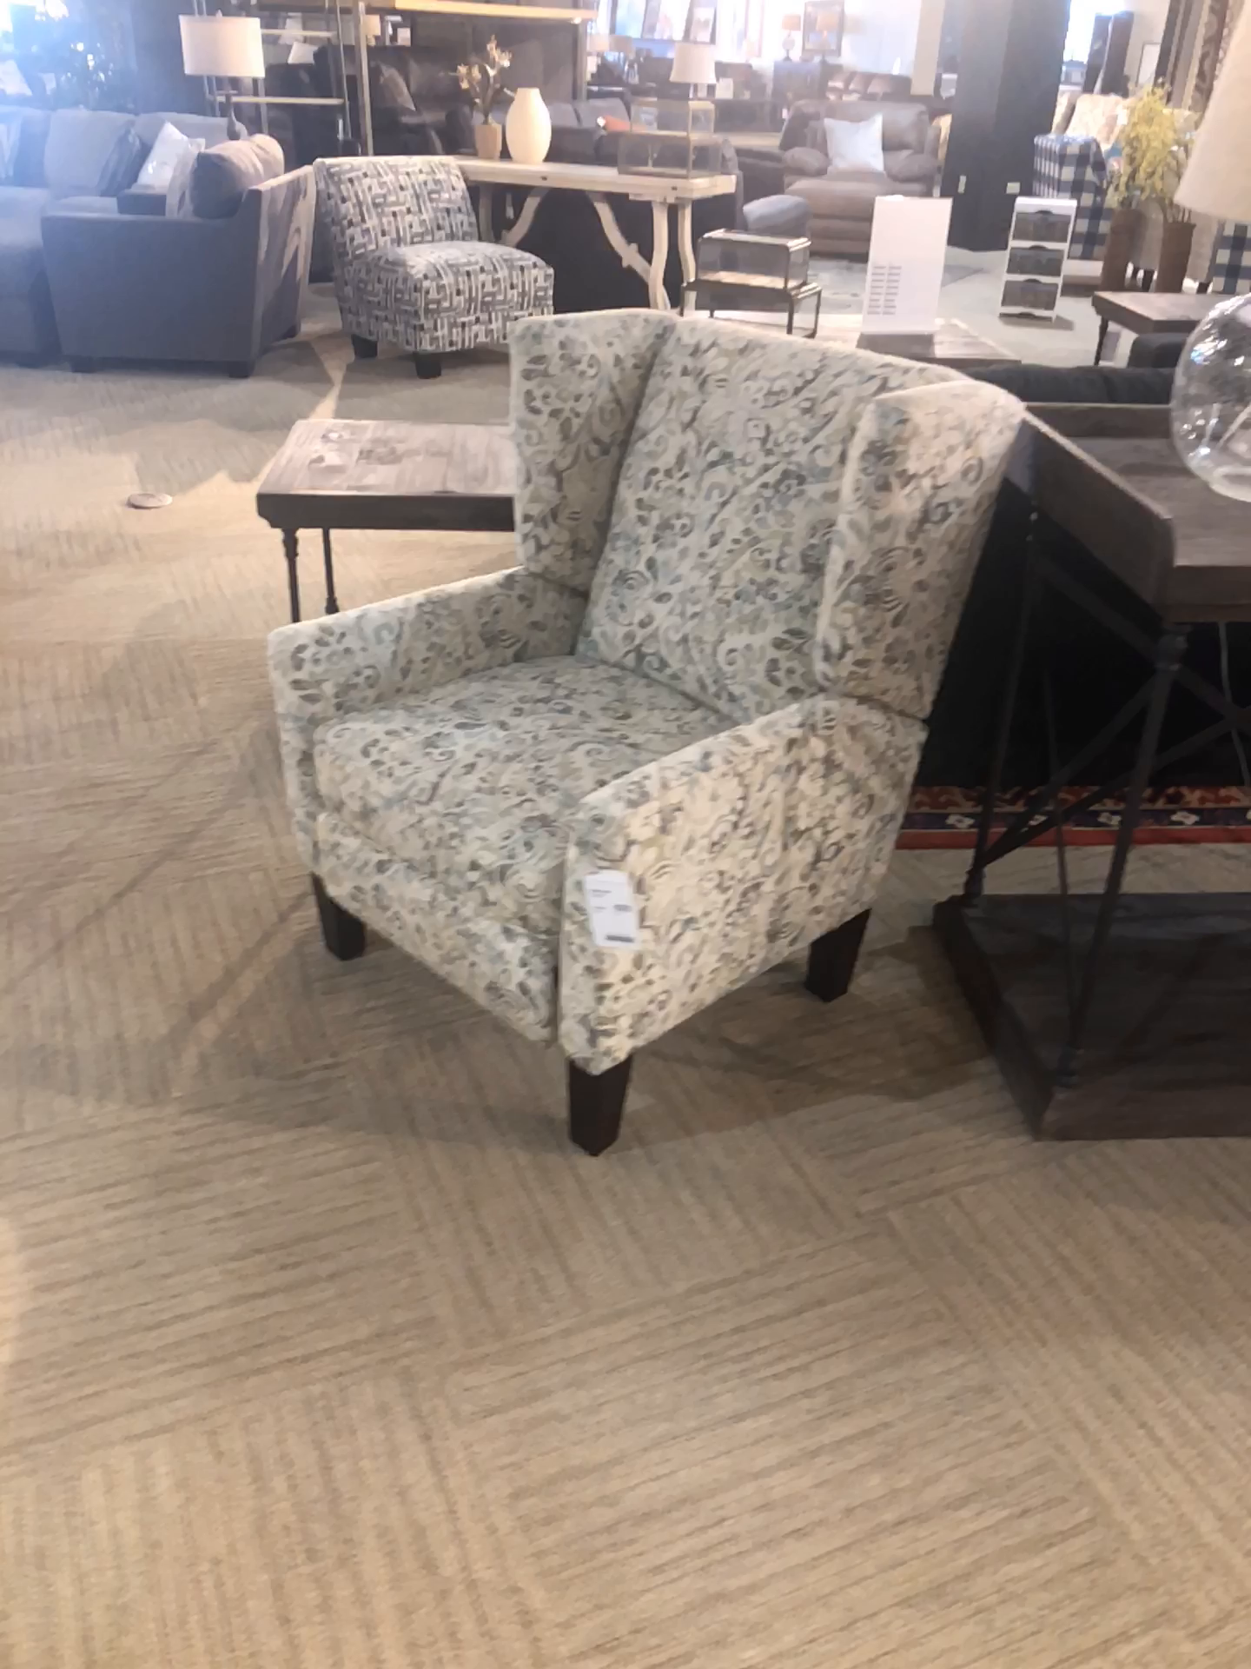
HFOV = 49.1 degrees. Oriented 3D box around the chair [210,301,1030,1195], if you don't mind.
[{"bbox_3d":[-0.031,-0.213,2.101,0.802,0.975,0.782,-22,37,-35],"label":"chair"}]
